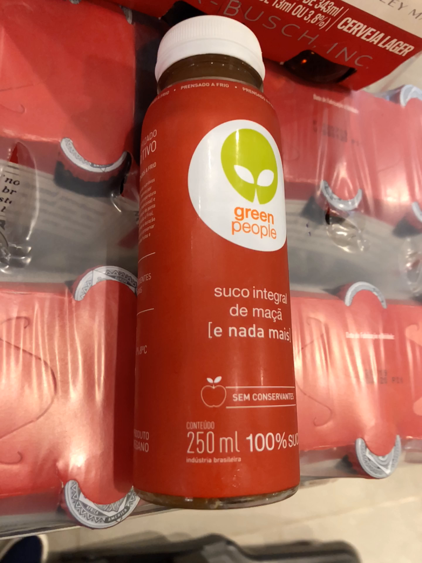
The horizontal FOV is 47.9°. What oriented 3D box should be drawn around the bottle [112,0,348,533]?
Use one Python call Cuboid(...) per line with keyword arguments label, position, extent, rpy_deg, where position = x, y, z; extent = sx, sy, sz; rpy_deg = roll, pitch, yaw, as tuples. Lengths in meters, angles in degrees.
Cuboid(label="bottle", position=(0.004, -0.022, 0.163), extent=(0.060, 0.040, 0.180), rpy_deg=(5, 77, -25))
